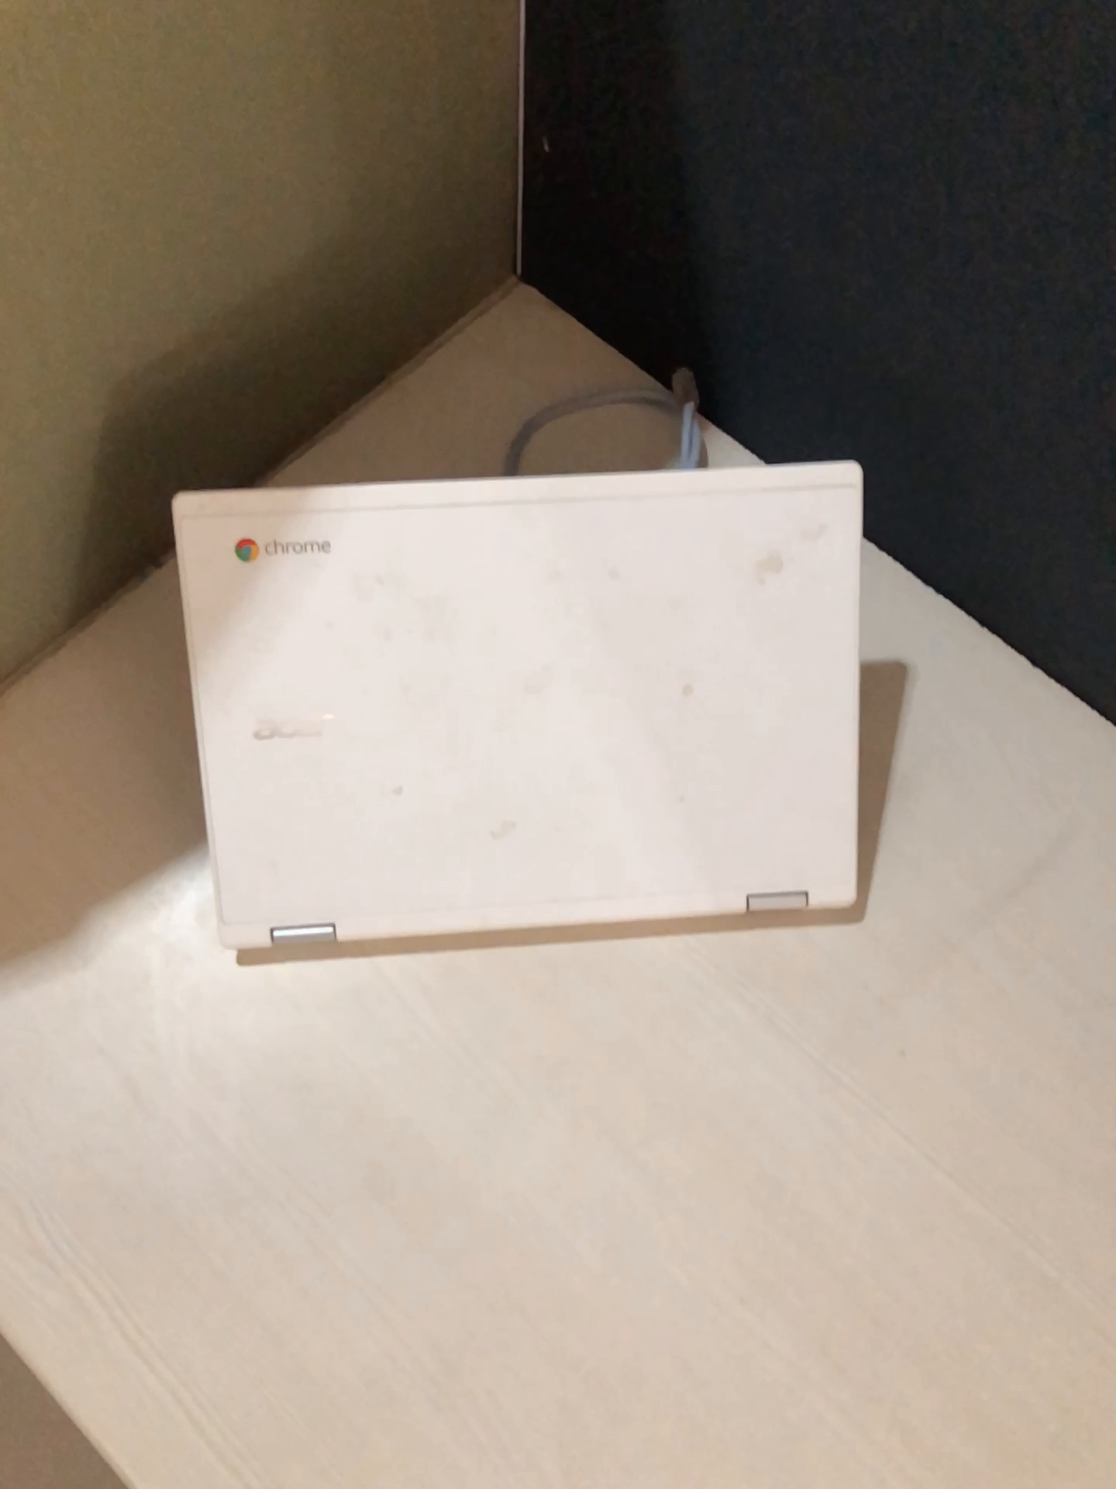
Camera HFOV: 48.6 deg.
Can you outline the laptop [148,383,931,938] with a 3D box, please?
[{"bbox_3d":[-0.013,-0.034,0.534,0.285,0.115,0.187,-3,68,-3],"label":"laptop"}]
